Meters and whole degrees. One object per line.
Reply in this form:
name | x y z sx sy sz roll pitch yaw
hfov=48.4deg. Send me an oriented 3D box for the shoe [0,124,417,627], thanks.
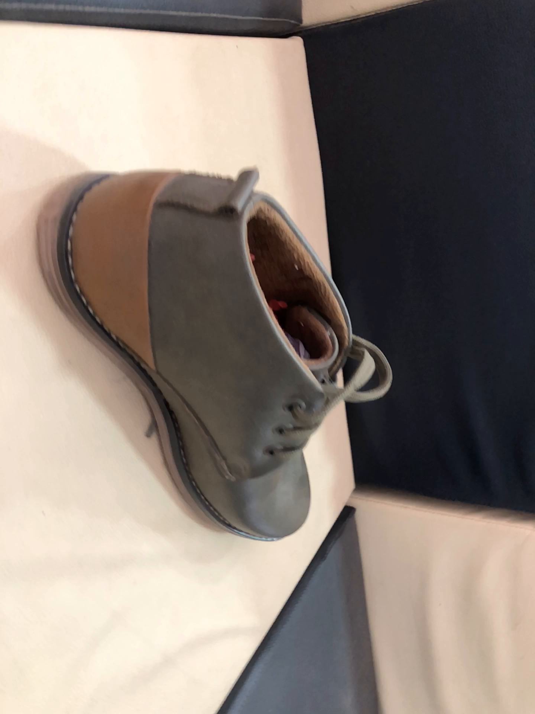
shoe | -0.001 0.036 0.313 0.080 0.099 0.281 -63 144 -35
